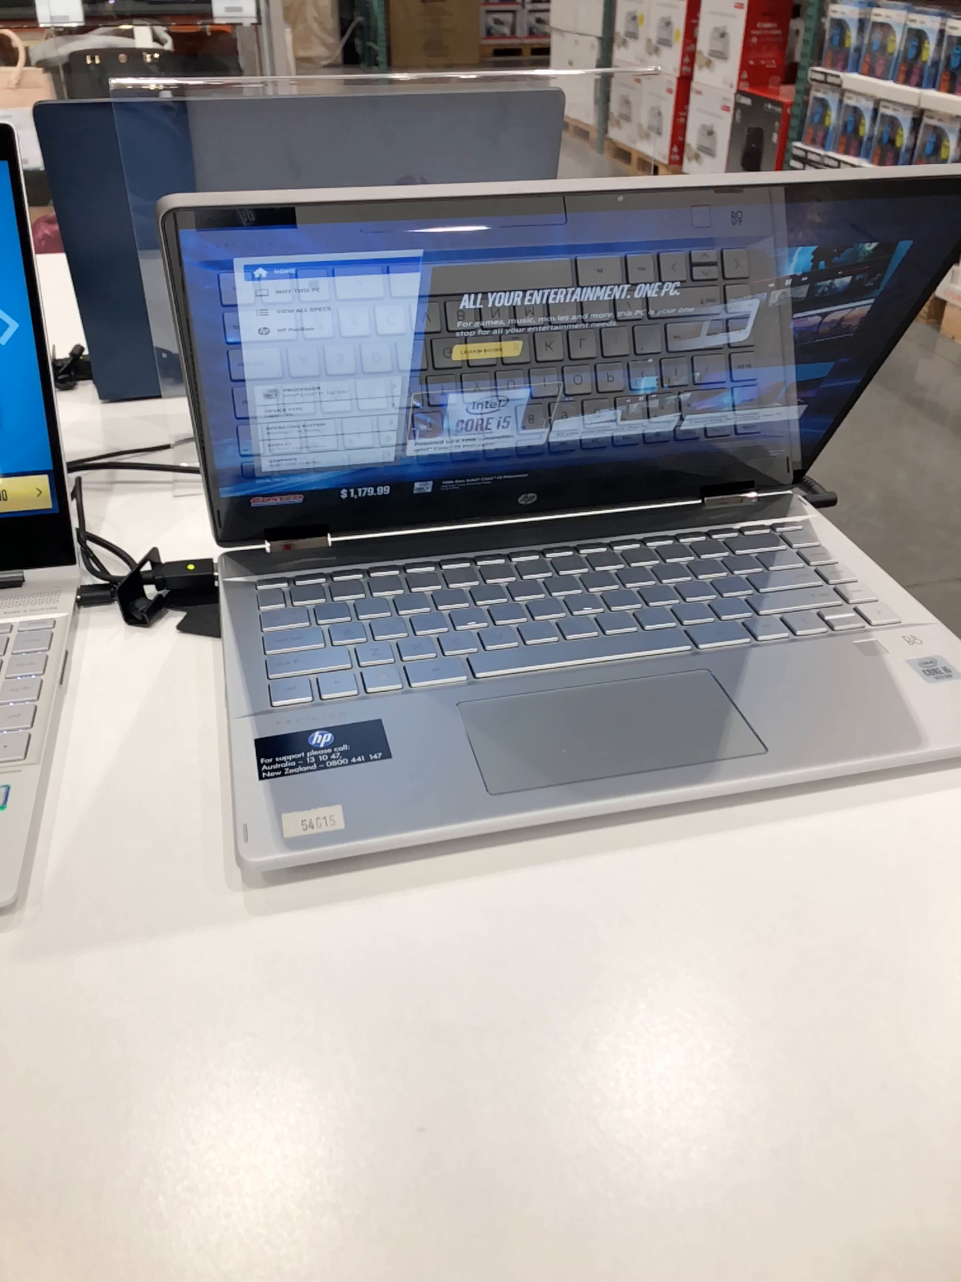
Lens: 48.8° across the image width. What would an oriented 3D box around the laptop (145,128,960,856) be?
[{"bbox_3d":[0.048,-0.081,0.423,0.317,0.185,0.207,-8,35,-11],"label":"laptop"}]
